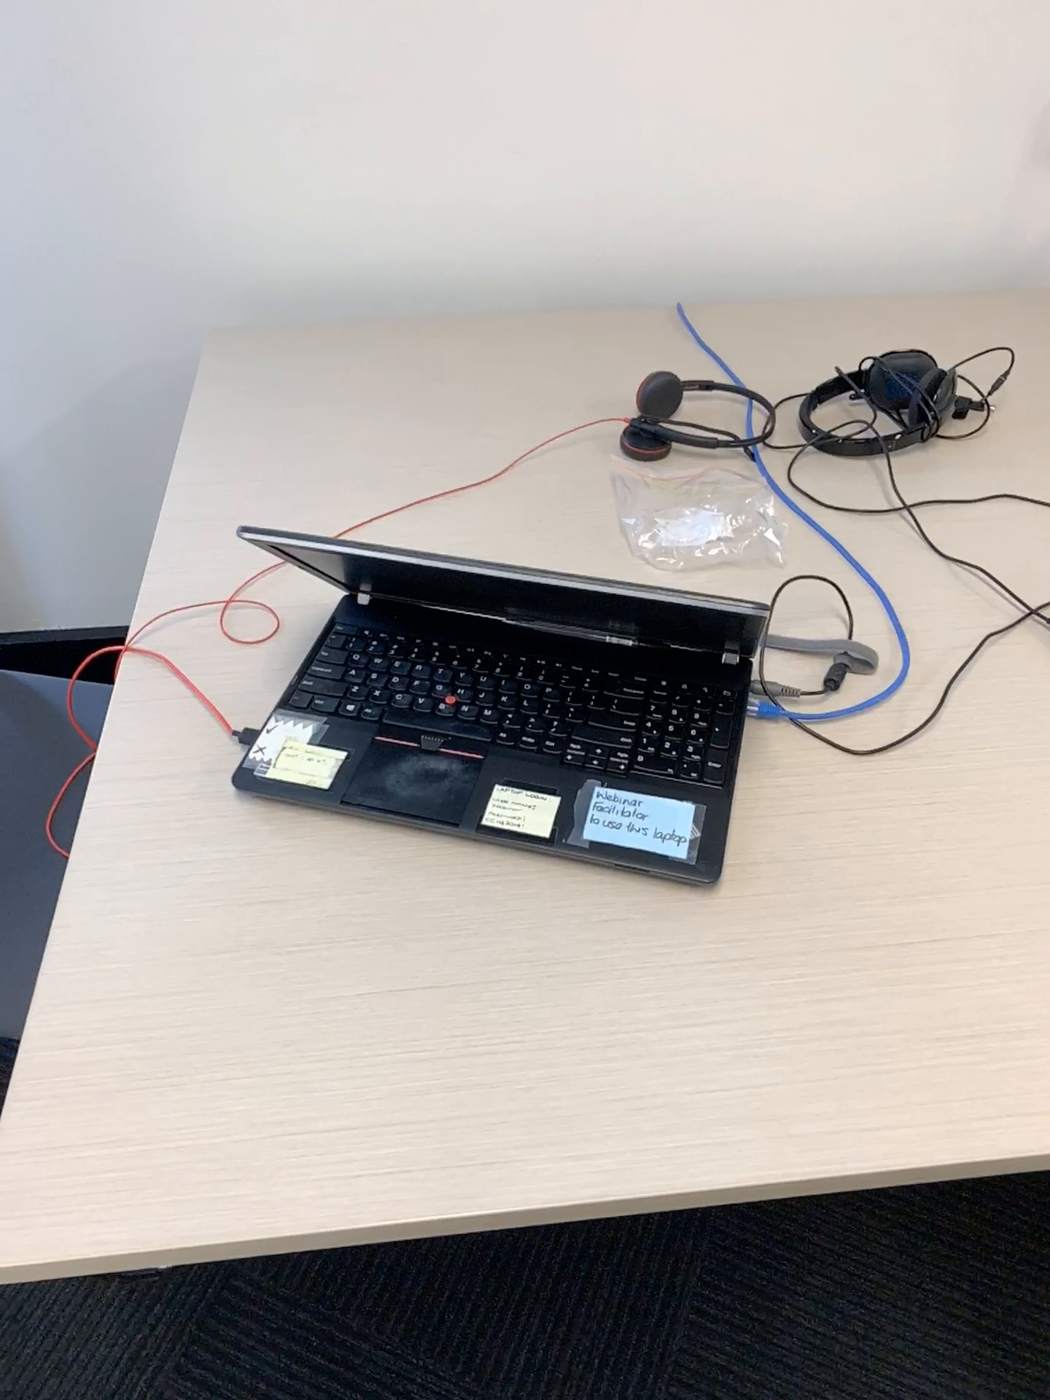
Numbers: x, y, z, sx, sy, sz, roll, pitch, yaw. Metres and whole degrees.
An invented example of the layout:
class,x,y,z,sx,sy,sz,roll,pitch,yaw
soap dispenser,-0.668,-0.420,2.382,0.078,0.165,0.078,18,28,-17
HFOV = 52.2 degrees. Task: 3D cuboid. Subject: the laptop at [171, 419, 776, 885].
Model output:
class,x,y,z,sx,sy,sz,roll,pitch,yaw
laptop,-0.015,-0.047,0.698,0.326,0.157,0.227,9,40,12
